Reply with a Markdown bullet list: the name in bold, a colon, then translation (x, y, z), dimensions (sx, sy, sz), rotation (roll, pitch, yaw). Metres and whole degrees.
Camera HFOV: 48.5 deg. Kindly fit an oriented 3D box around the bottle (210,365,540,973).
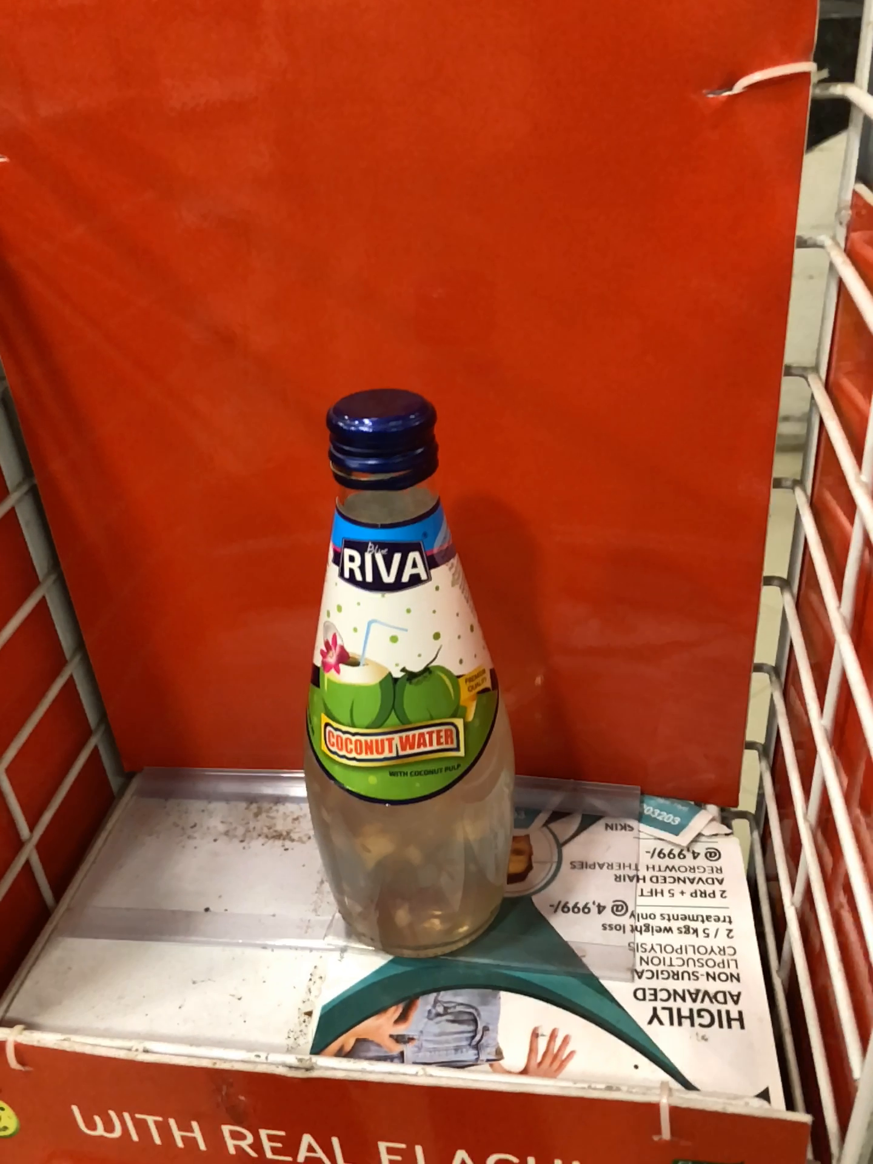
- **bottle**: translation (-0.007, 0.032, 0.293), dimensions (0.070, 0.179, 0.060), rotation (0, 32, 9)
